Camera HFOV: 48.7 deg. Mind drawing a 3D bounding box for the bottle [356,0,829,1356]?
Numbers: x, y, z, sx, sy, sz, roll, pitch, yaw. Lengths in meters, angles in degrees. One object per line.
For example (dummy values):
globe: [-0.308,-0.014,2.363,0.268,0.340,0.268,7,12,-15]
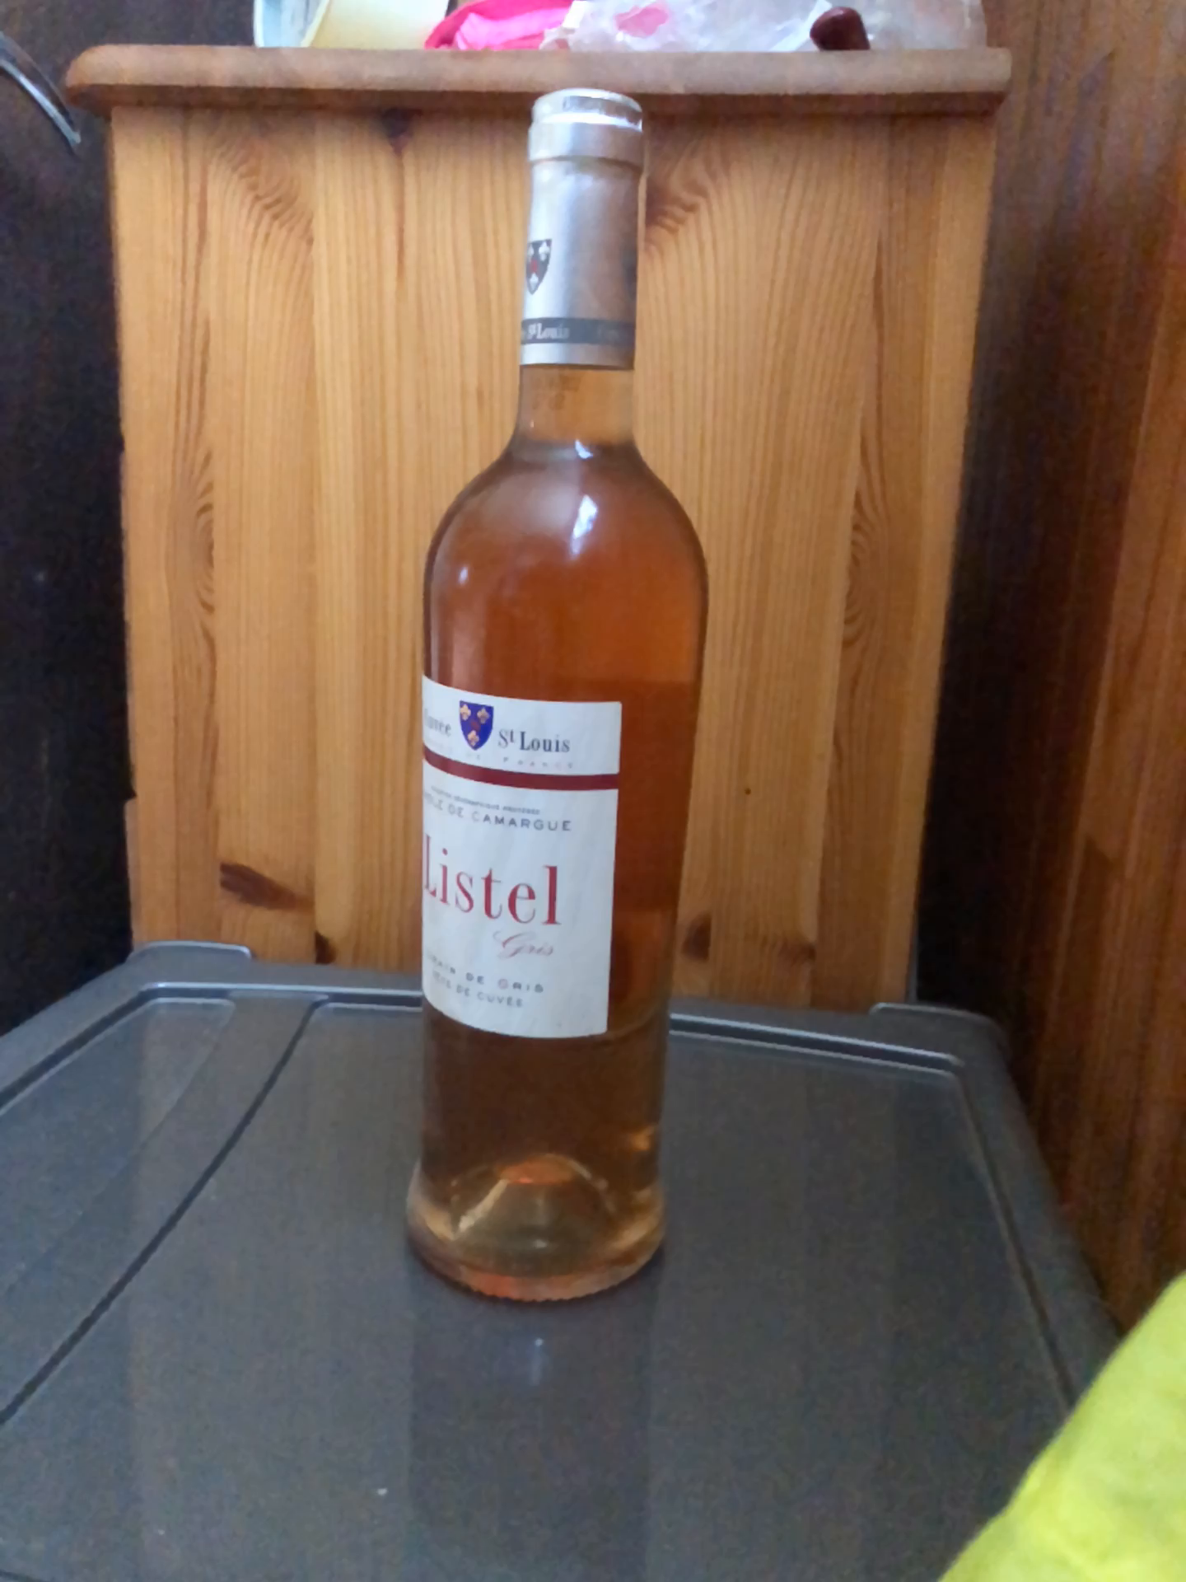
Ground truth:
bottle: [-0.005,-0.023,0.356,0.080,0.319,0.080,3,14,-1]
